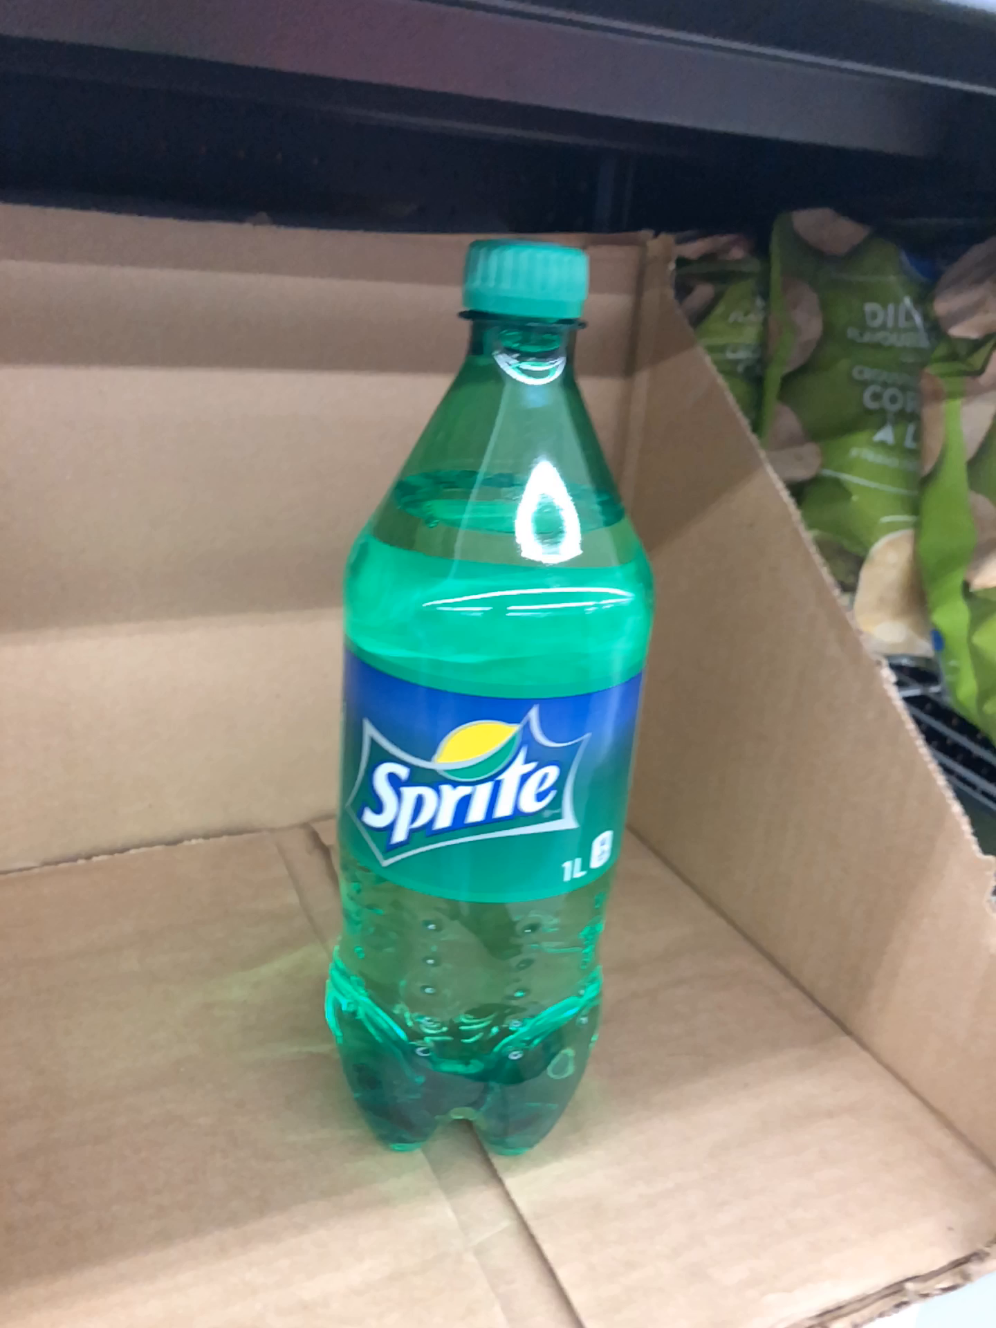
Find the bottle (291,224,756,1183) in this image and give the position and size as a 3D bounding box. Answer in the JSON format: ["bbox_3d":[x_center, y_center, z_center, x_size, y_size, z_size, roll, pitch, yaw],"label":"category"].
[{"bbox_3d":[-0.004,0.014,0.312,0.090,0.248,0.091,5,22,-2],"label":"bottle"}]
